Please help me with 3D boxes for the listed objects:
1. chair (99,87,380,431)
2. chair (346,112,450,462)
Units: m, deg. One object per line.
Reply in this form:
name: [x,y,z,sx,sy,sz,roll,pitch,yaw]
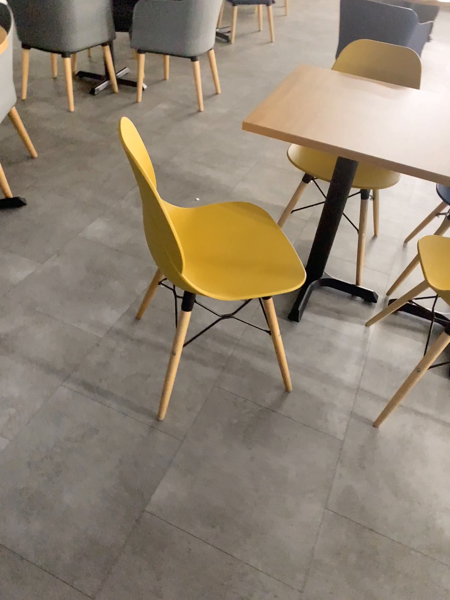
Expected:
chair: [-0.033,-0.111,1.322,0.519,0.781,0.521,-8,45,-15]
chair: [0.724,-0.013,1.315,0.516,0.781,0.534,9,43,2]
